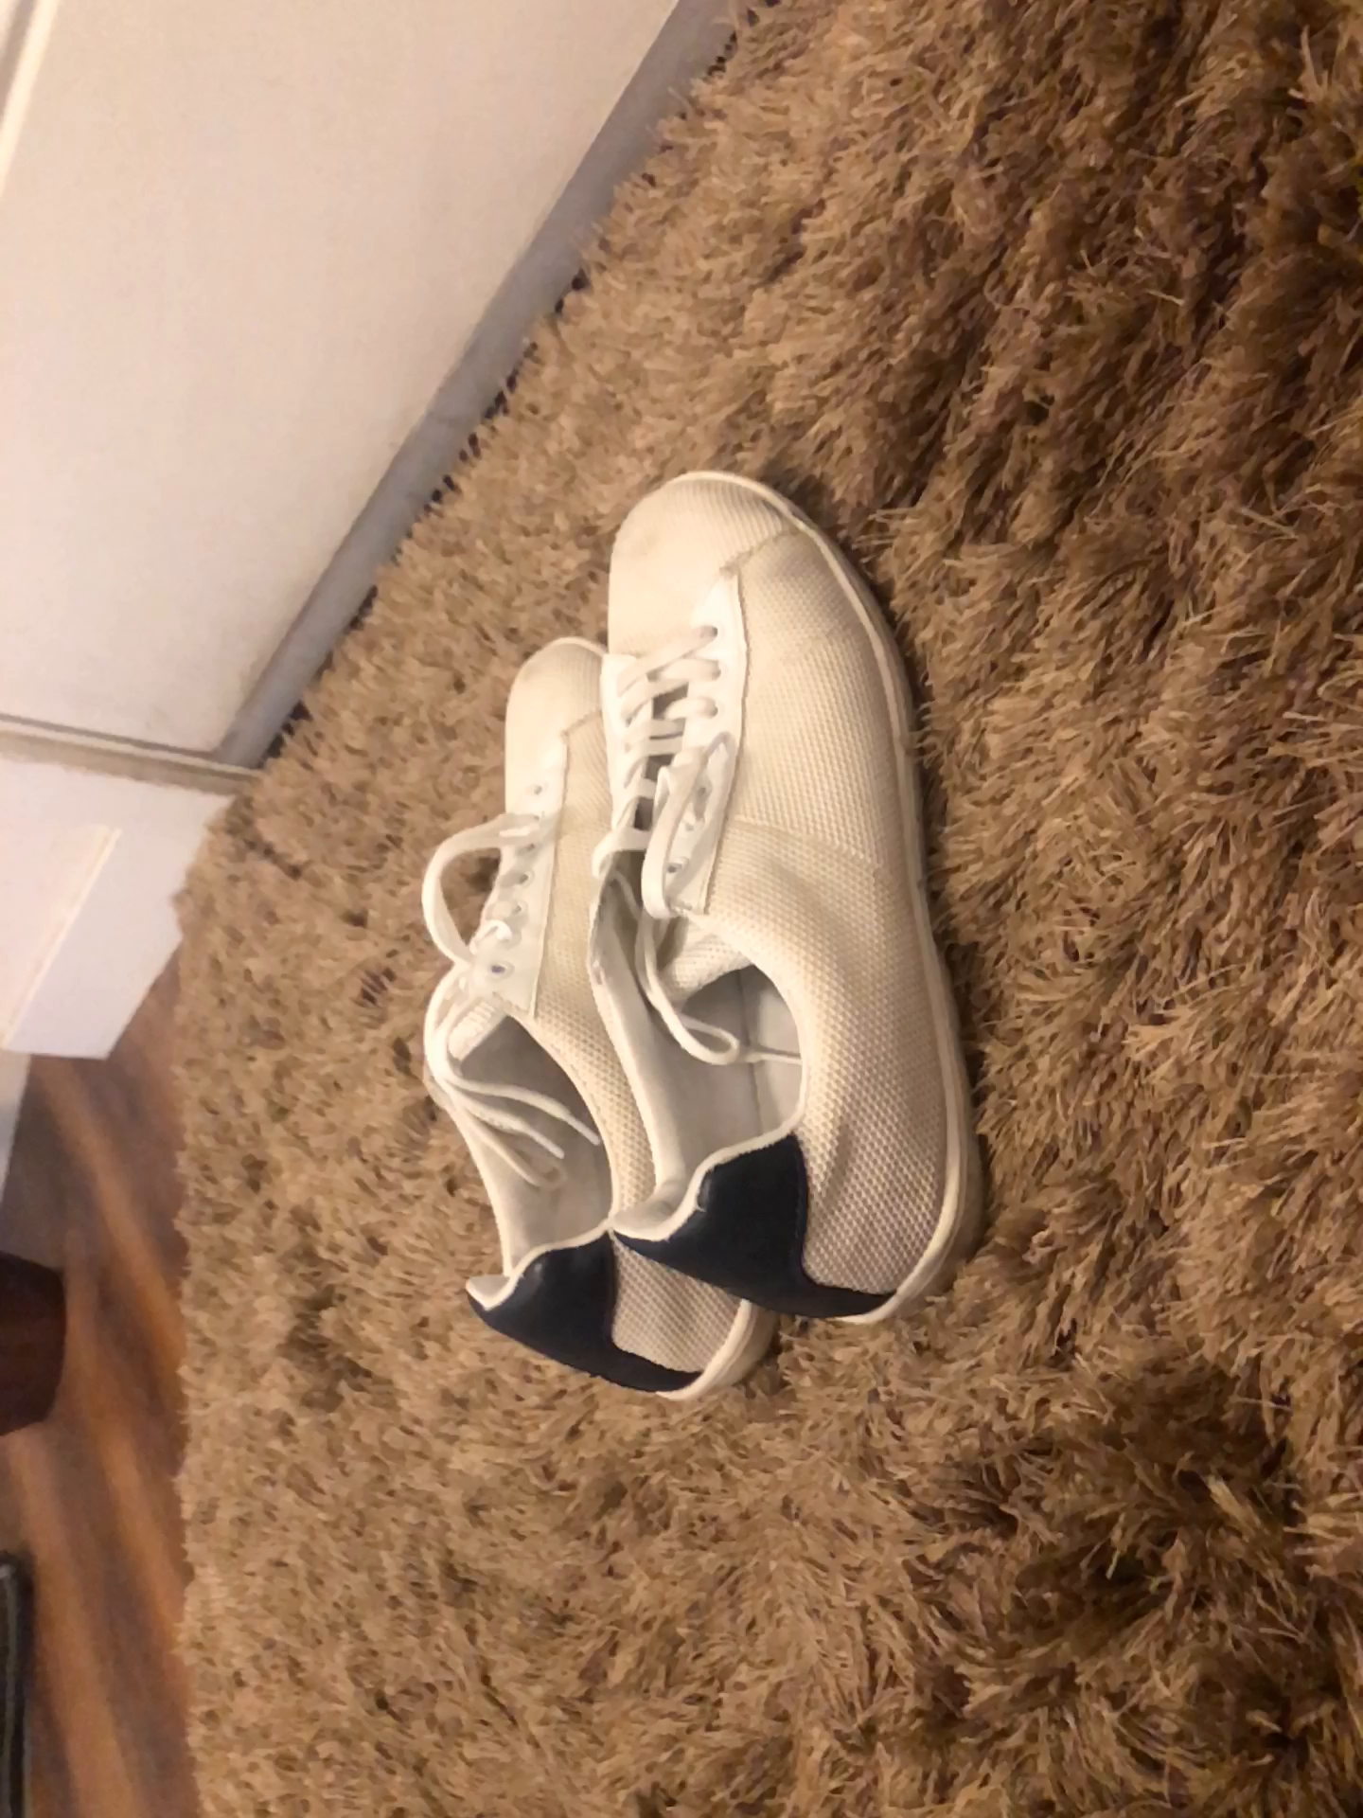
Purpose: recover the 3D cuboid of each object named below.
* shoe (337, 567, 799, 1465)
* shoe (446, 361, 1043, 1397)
[{"bbox_3d":[-0.048,0.032,0.494,0.101,0.079,0.263,-40,51,45],"label":"shoe"},{"bbox_3d":[0.003,-0.010,0.428,0.105,0.079,0.263,-39,52,45],"label":"shoe"}]
